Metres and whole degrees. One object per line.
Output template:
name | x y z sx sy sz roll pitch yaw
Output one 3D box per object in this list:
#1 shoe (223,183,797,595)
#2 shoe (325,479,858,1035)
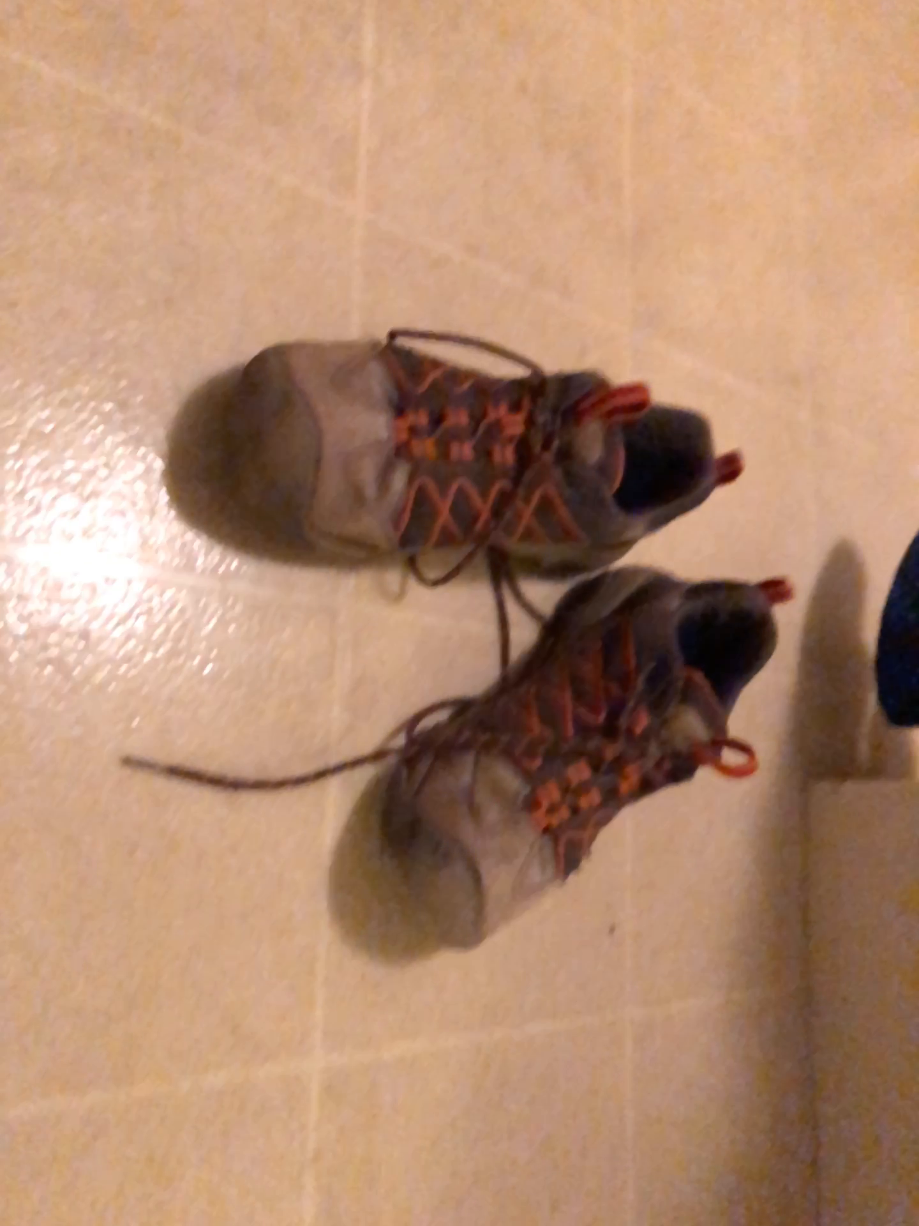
shoe | 0.038 -0.093 0.541 0.294 0.121 0.127 6 79 -38
shoe | 0.087 0.063 0.563 0.284 0.121 0.127 -44 110 -35
